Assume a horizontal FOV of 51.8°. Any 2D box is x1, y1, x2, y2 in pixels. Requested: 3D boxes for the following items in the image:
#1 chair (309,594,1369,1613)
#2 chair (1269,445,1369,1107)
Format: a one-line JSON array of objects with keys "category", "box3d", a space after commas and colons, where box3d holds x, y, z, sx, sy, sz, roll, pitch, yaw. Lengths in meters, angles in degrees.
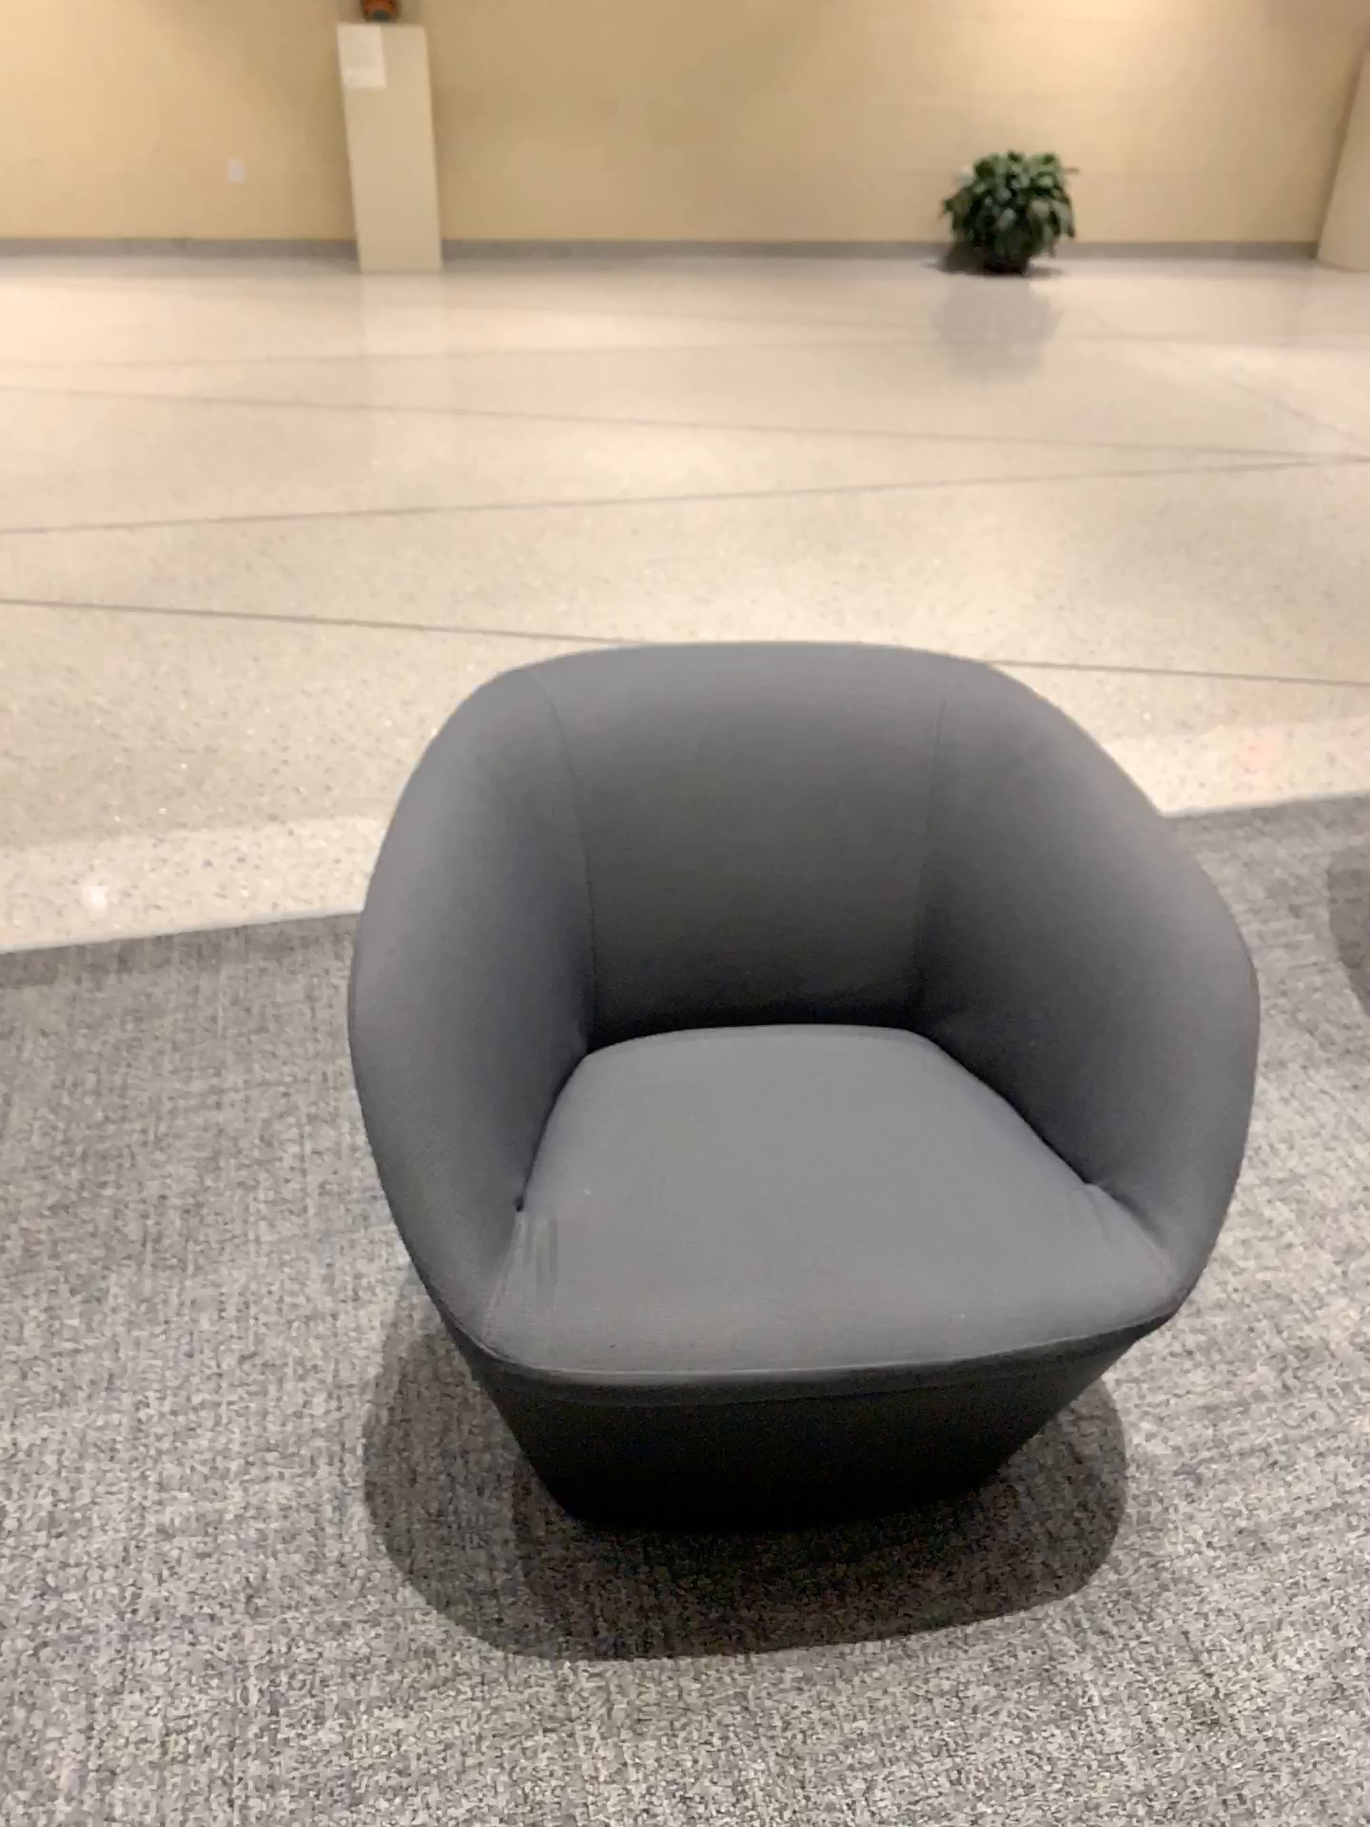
[{"category": "chair", "box3d": [0.098, 0.131, 1.362, 0.778, 0.658, 0.636, -3, 32, -8]}, {"category": "chair", "box3d": [1.375, -0.211, 1.941, 0.768, 0.668, 0.636, 2, 32, 0]}]
